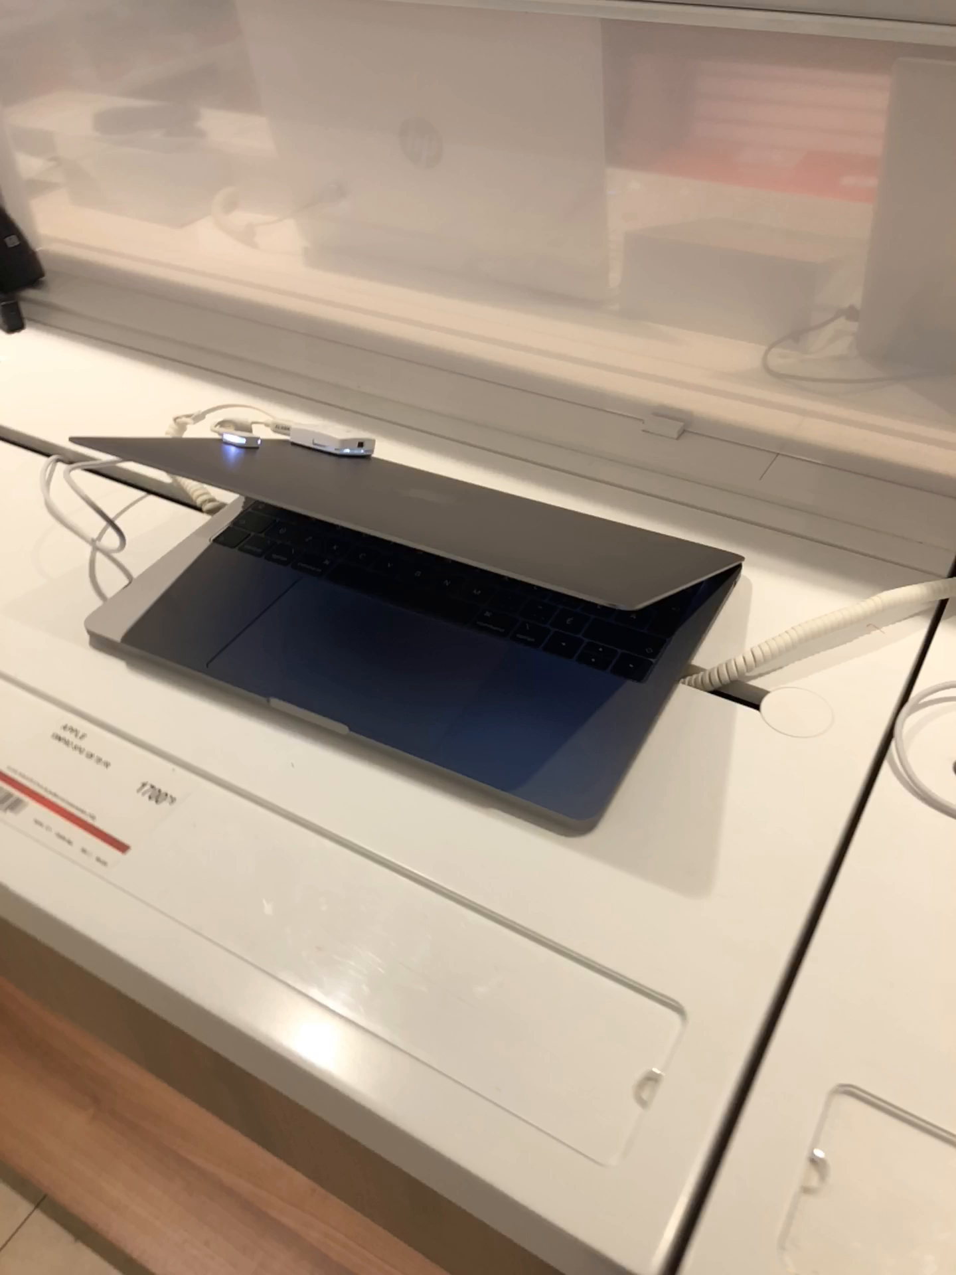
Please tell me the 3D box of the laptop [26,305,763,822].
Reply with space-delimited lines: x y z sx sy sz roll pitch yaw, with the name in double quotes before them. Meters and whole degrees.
"laptop" -0.037 -0.061 0.551 0.304 0.104 0.202 18 45 23
